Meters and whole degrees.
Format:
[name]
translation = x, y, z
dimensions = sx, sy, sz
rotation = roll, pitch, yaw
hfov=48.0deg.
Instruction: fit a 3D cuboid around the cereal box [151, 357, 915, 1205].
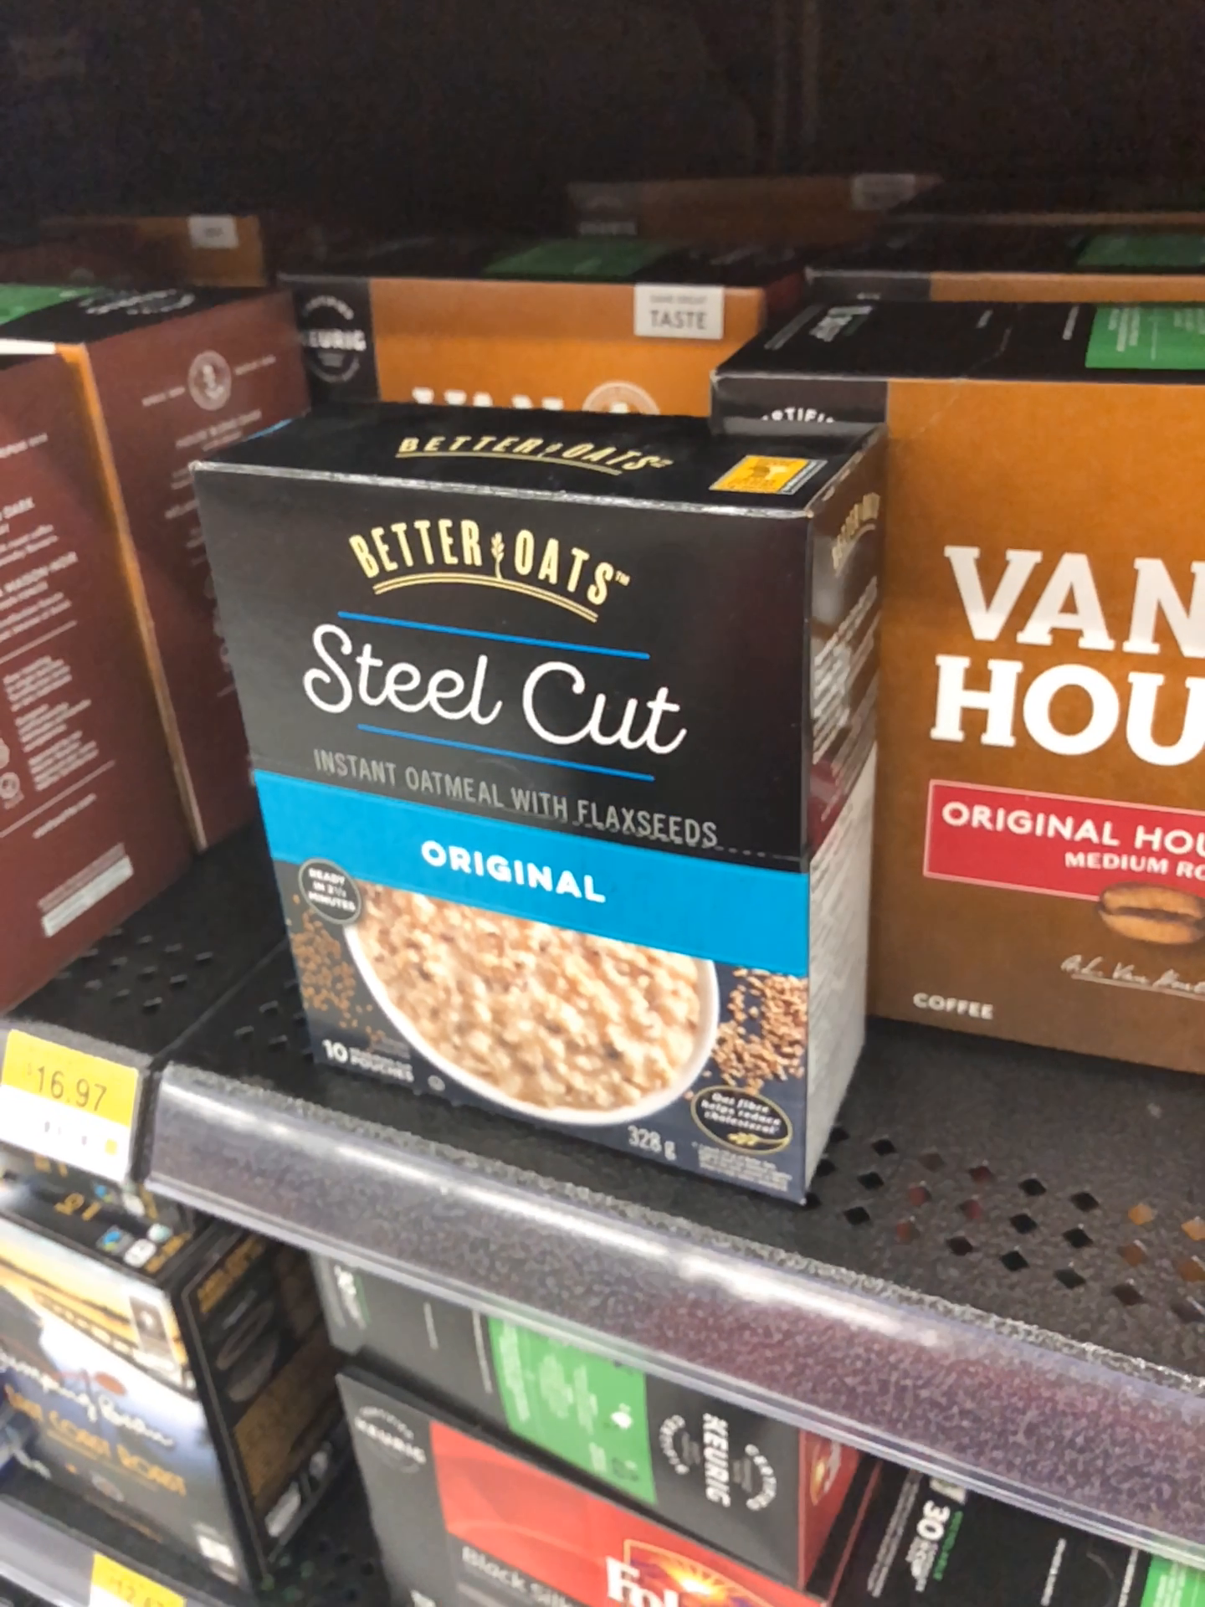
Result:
[cereal box]
translation = -0.011, -0.007, 0.331
dimensions = 0.150, 0.179, 0.060
rotation = 10, 34, 22
